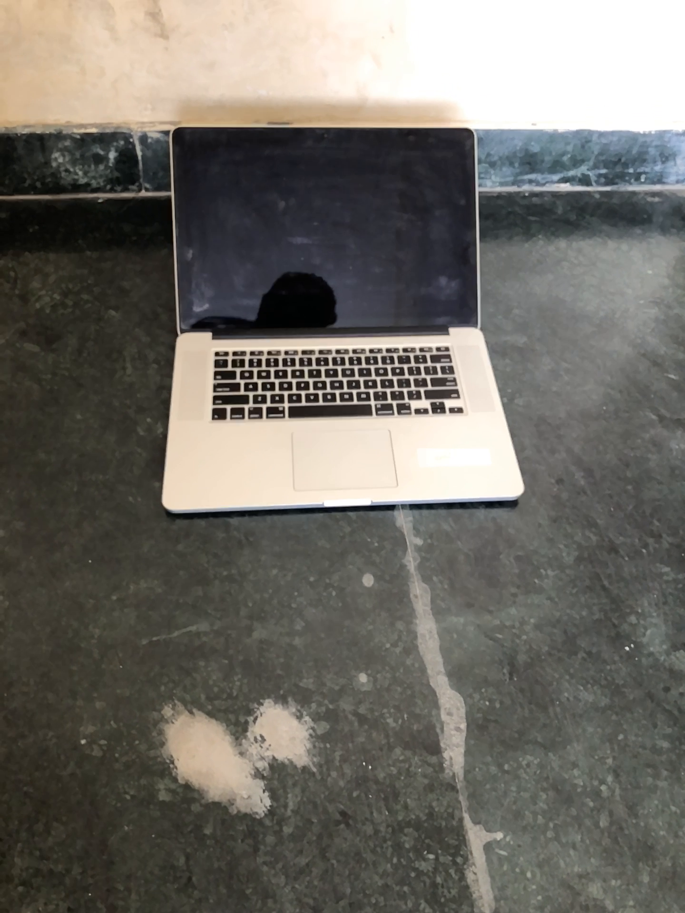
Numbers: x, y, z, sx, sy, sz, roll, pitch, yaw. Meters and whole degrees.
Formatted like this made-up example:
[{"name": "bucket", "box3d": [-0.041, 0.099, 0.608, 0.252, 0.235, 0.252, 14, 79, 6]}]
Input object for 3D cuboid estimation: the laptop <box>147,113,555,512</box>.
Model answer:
[{"name": "laptop", "box3d": [-0.006, -0.177, 0.804, 0.342, 0.130, 0.435, -2, 55, -6]}]
